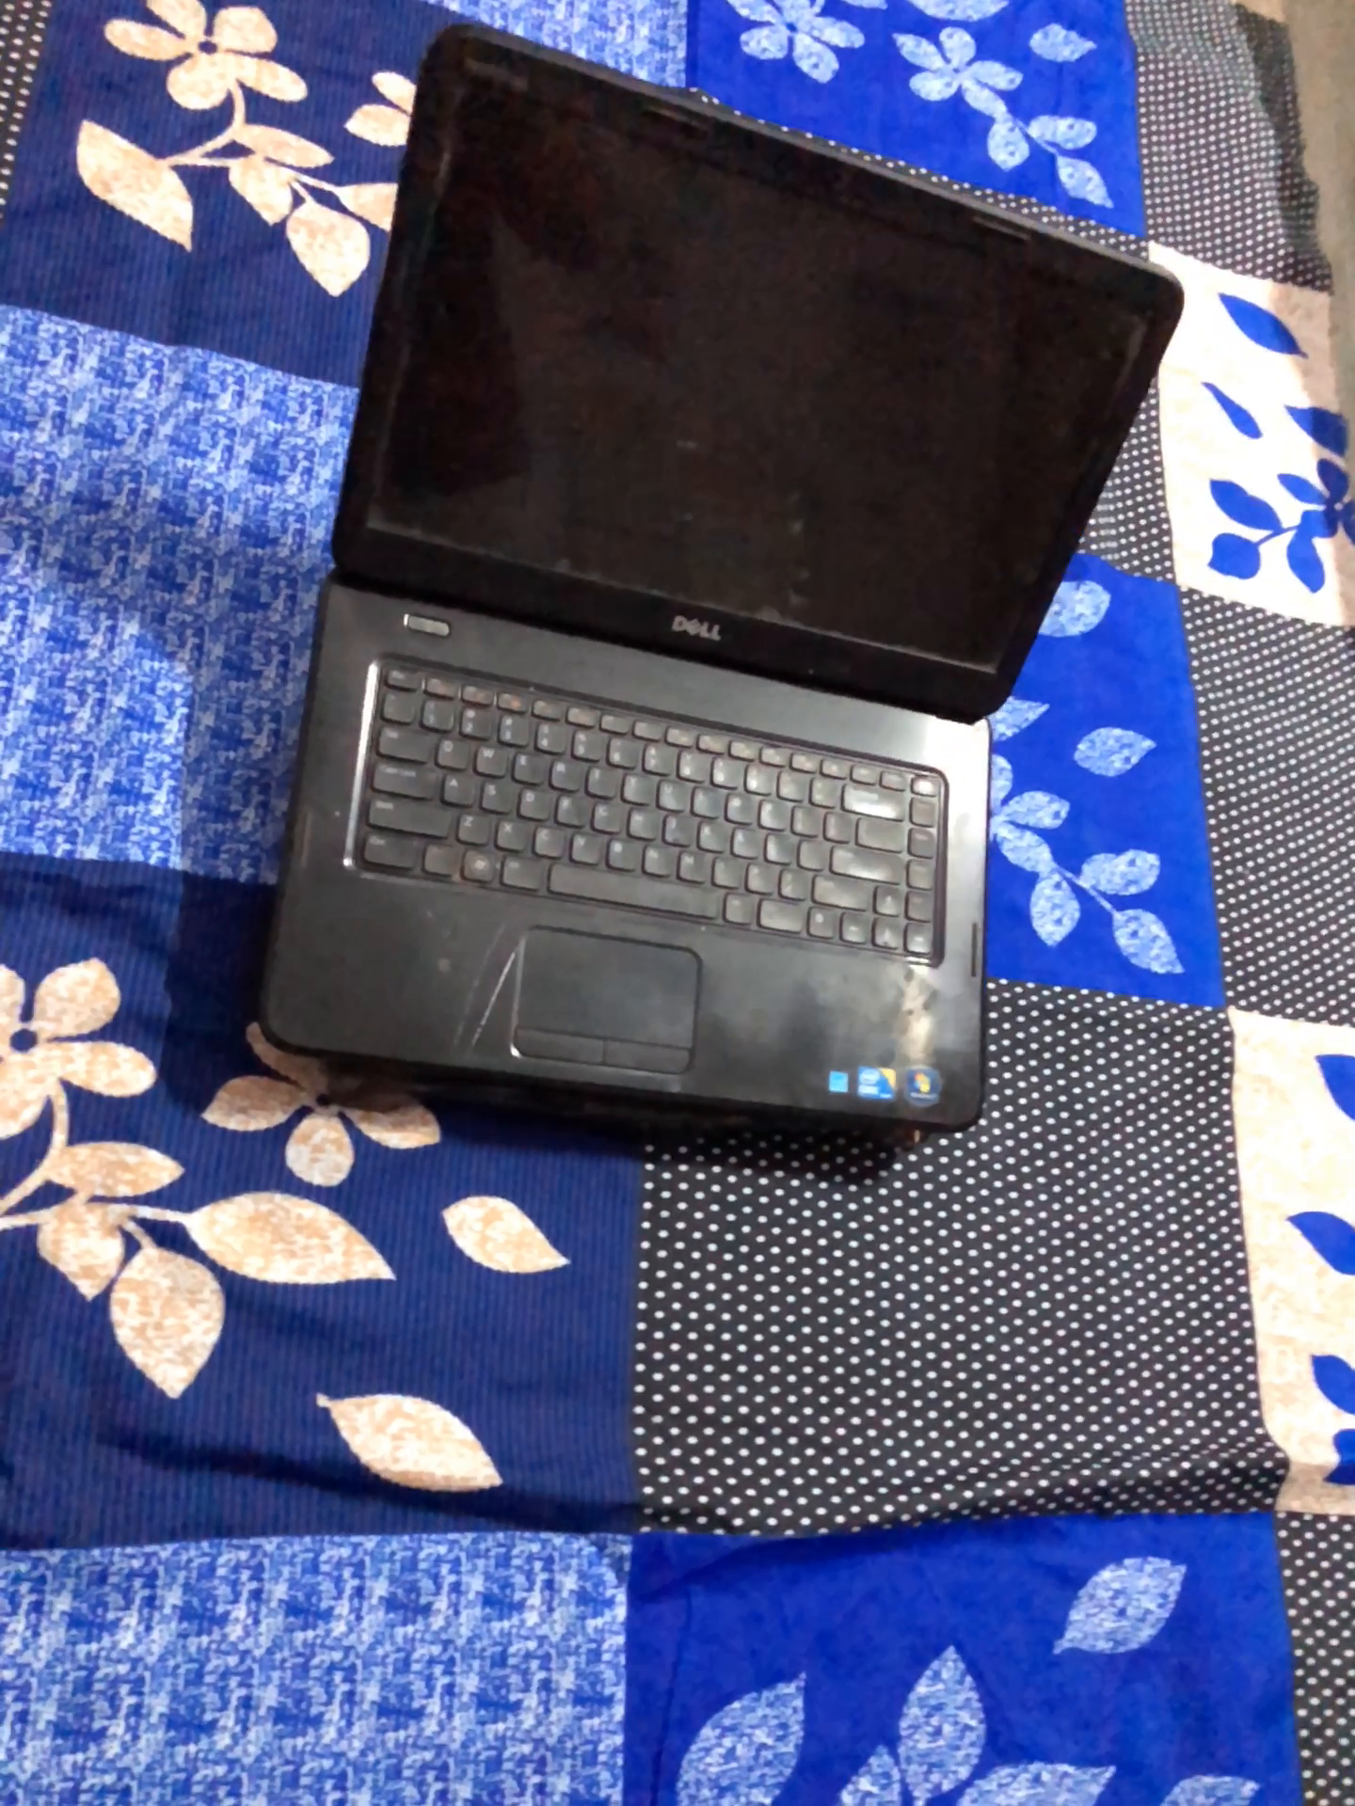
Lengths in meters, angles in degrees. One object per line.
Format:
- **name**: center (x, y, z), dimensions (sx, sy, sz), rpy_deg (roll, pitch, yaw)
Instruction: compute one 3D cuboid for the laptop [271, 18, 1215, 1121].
- **laptop**: center (0.034, -0.124, 0.697), dimensions (0.364, 0.187, 0.389), rpy_deg (9, 71, -19)
